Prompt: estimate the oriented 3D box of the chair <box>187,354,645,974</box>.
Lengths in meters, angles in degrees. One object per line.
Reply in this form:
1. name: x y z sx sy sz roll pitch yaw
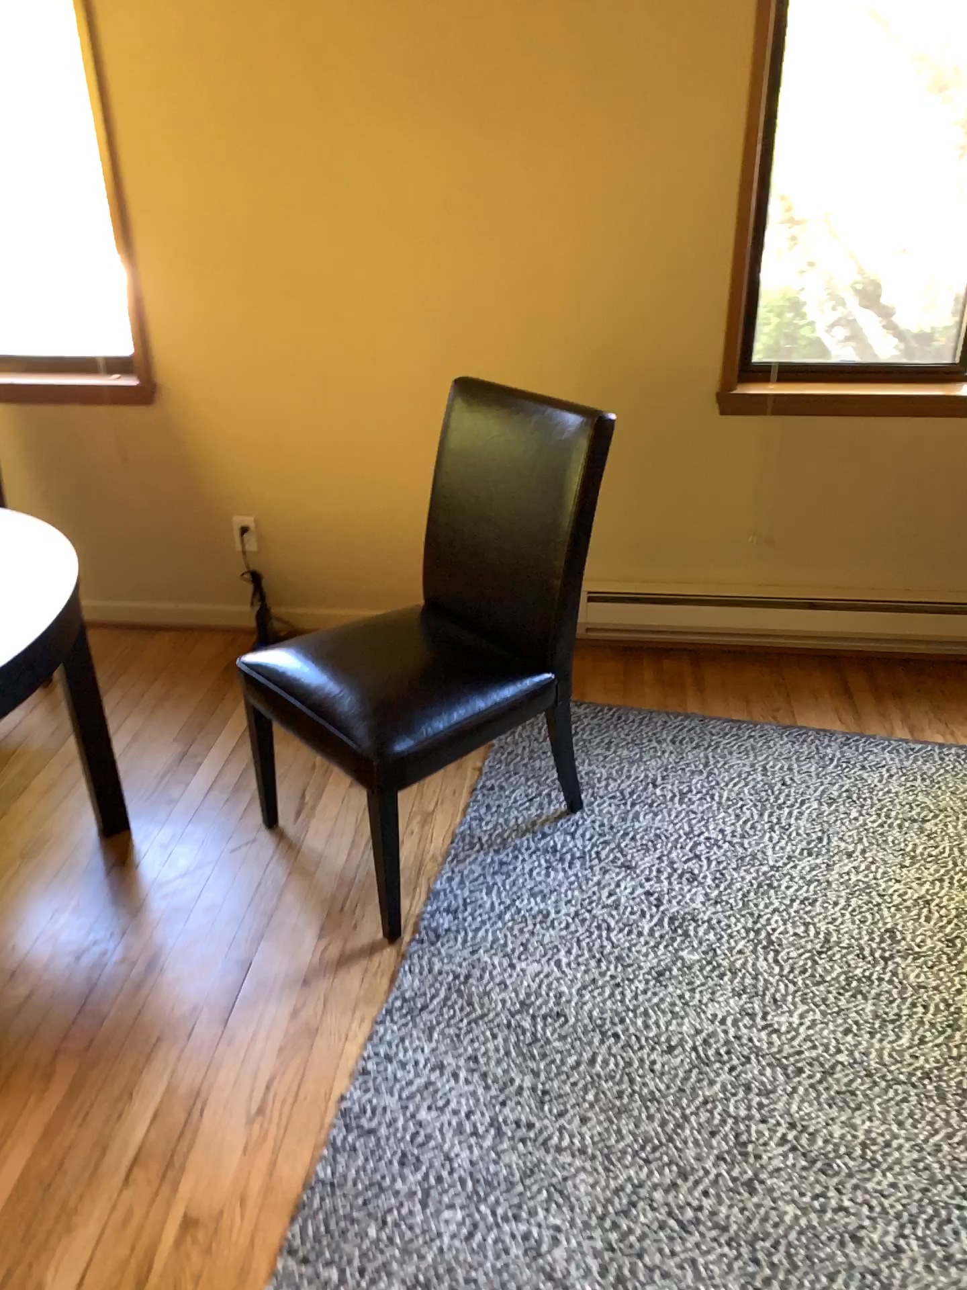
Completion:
1. chair: -0.116 -0.001 2.125 0.671 1.034 0.563 -25 36 -36
